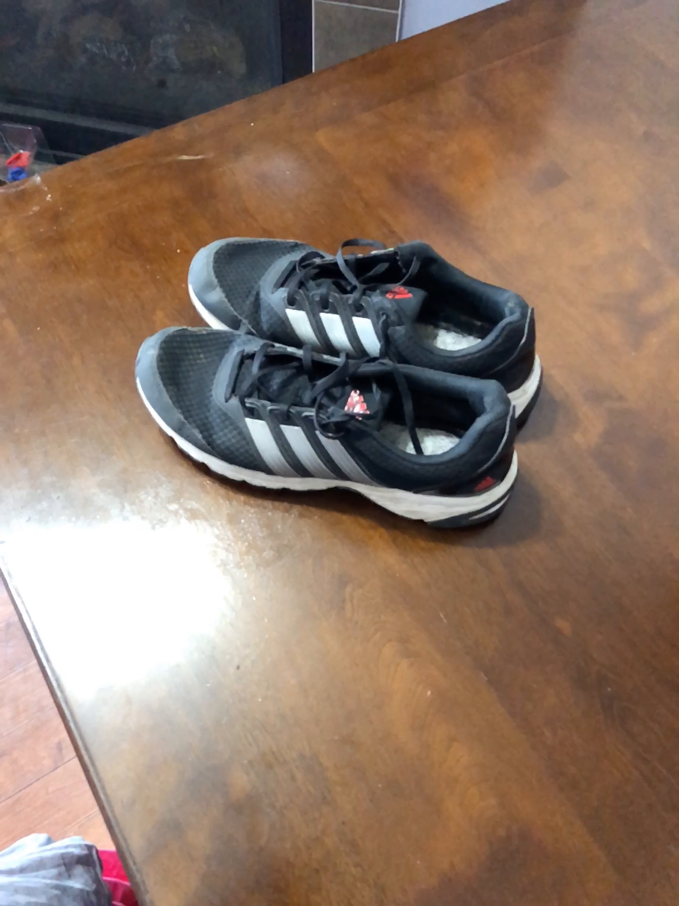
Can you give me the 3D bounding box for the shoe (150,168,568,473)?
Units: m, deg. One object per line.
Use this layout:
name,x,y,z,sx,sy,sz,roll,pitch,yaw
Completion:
shoe,0.014,-0.108,0.610,0.290,0.120,0.120,19,62,8

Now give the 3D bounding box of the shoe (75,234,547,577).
shoe,-0.019,-0.033,0.552,0.290,0.130,0.120,19,62,8
